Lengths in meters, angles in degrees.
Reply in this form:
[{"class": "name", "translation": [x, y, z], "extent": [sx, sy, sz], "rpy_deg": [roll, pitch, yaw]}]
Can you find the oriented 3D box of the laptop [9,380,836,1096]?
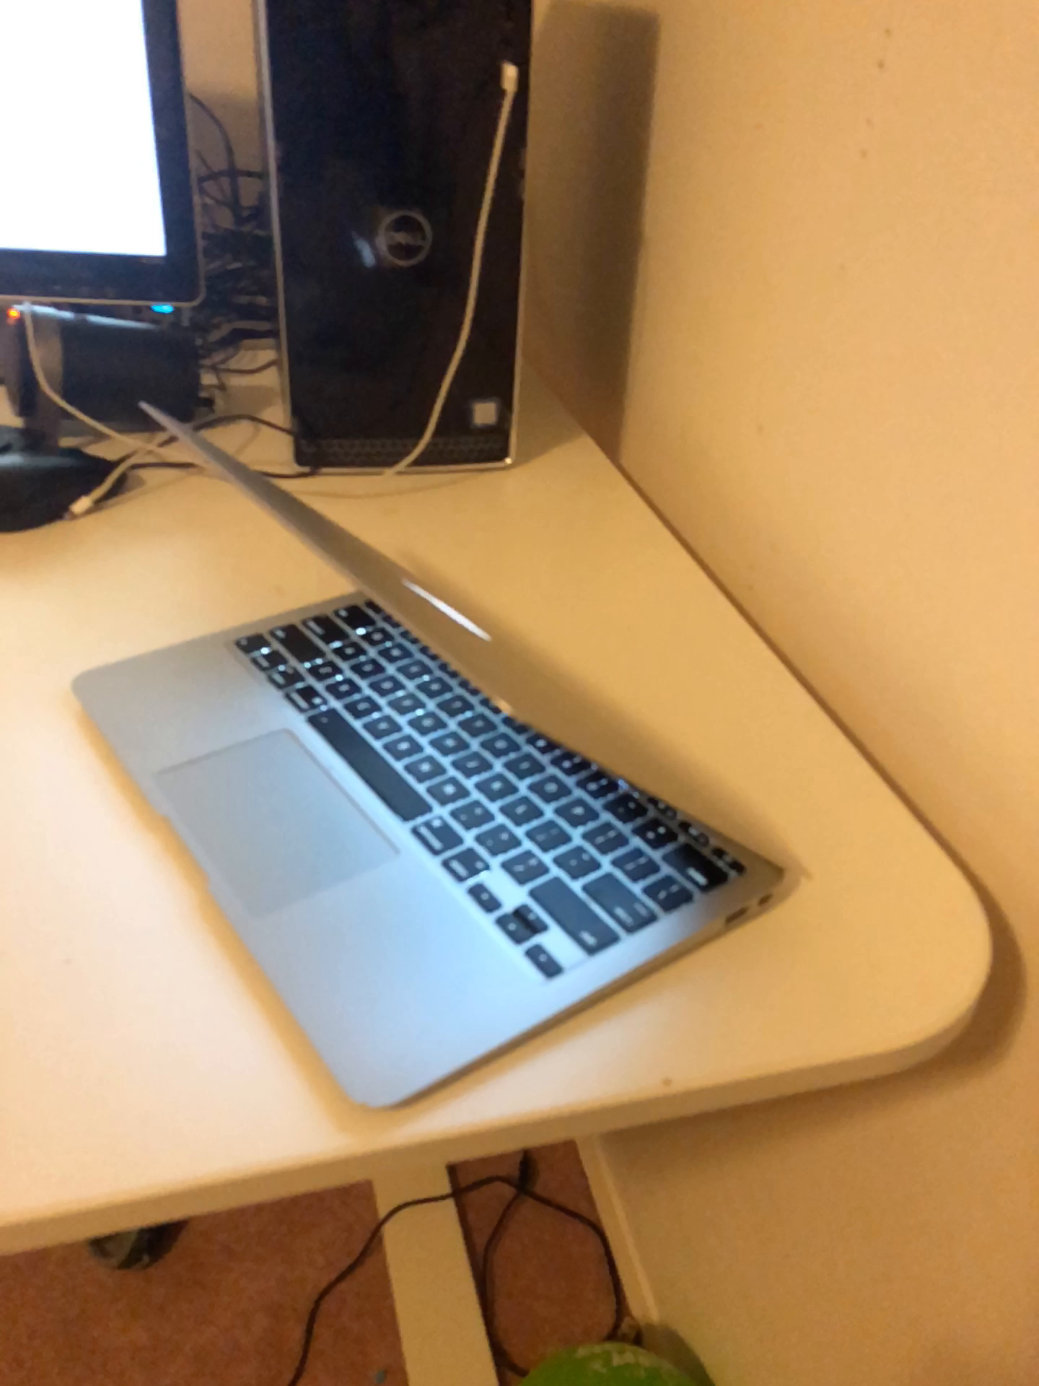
[{"class": "laptop", "translation": [-0.056, -0.015, 0.459], "extent": [0.181, 0.108, 0.287], "rpy_deg": [-22, 42, -31]}]
